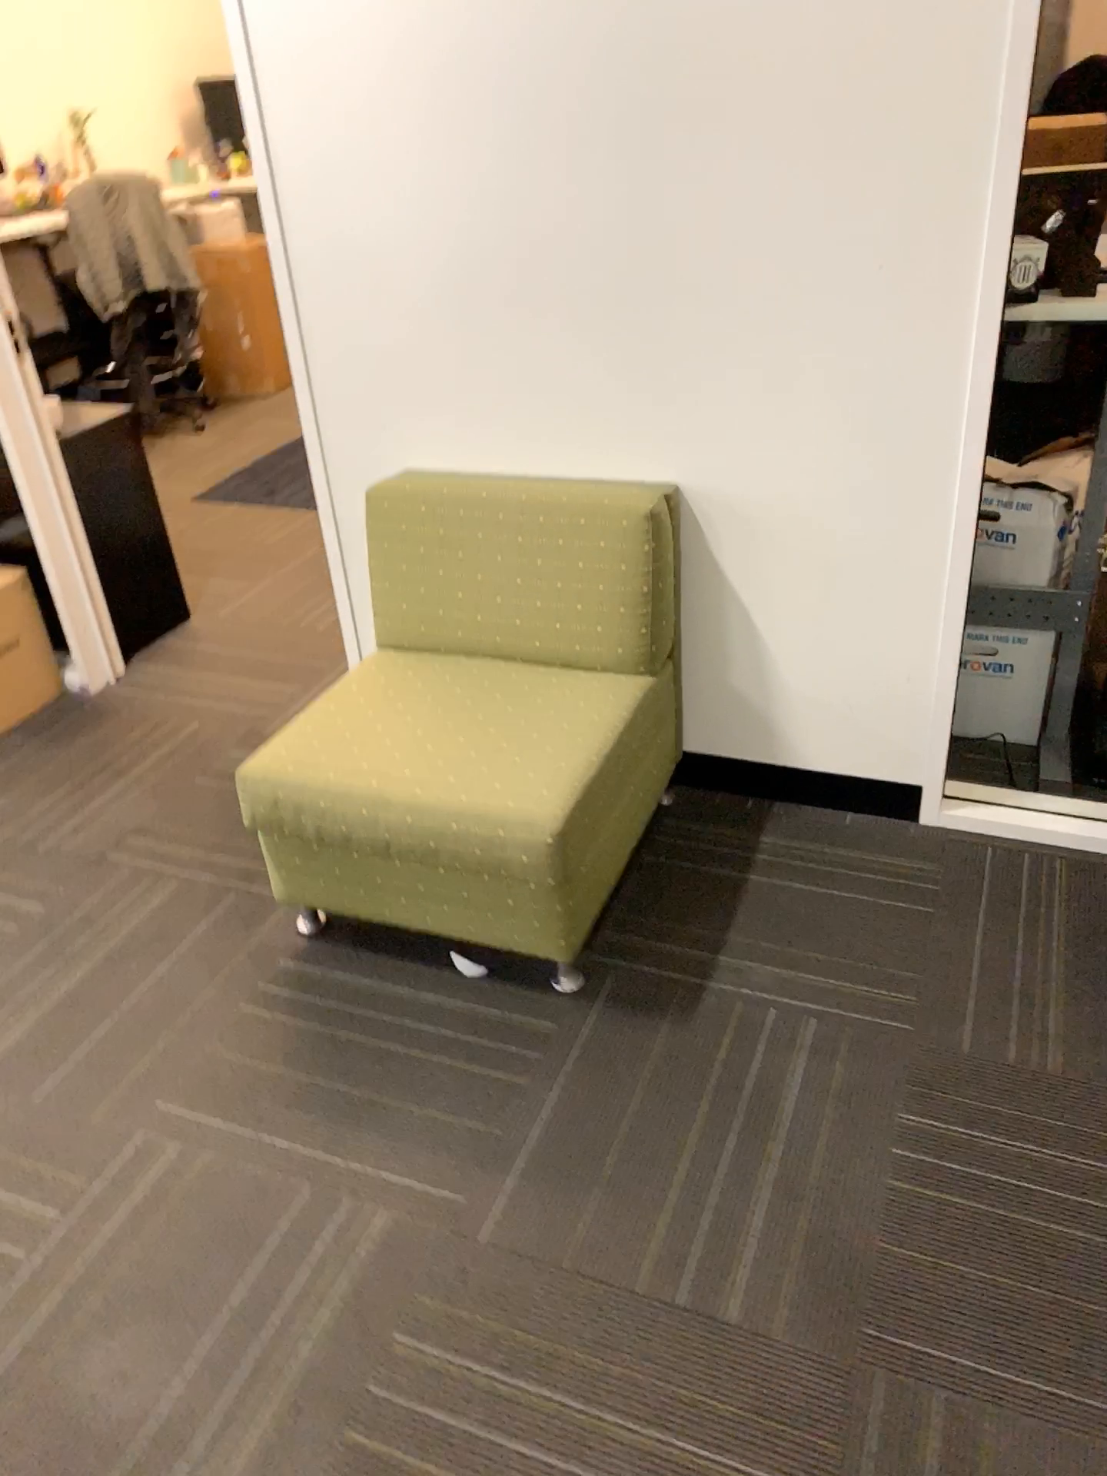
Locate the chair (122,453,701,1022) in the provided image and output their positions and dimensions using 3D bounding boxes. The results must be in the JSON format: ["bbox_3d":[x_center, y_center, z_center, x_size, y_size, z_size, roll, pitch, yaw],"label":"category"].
[{"bbox_3d":[-0.181,-0.065,2.152,0.731,0.686,0.783,8,34,21],"label":"chair"}]
